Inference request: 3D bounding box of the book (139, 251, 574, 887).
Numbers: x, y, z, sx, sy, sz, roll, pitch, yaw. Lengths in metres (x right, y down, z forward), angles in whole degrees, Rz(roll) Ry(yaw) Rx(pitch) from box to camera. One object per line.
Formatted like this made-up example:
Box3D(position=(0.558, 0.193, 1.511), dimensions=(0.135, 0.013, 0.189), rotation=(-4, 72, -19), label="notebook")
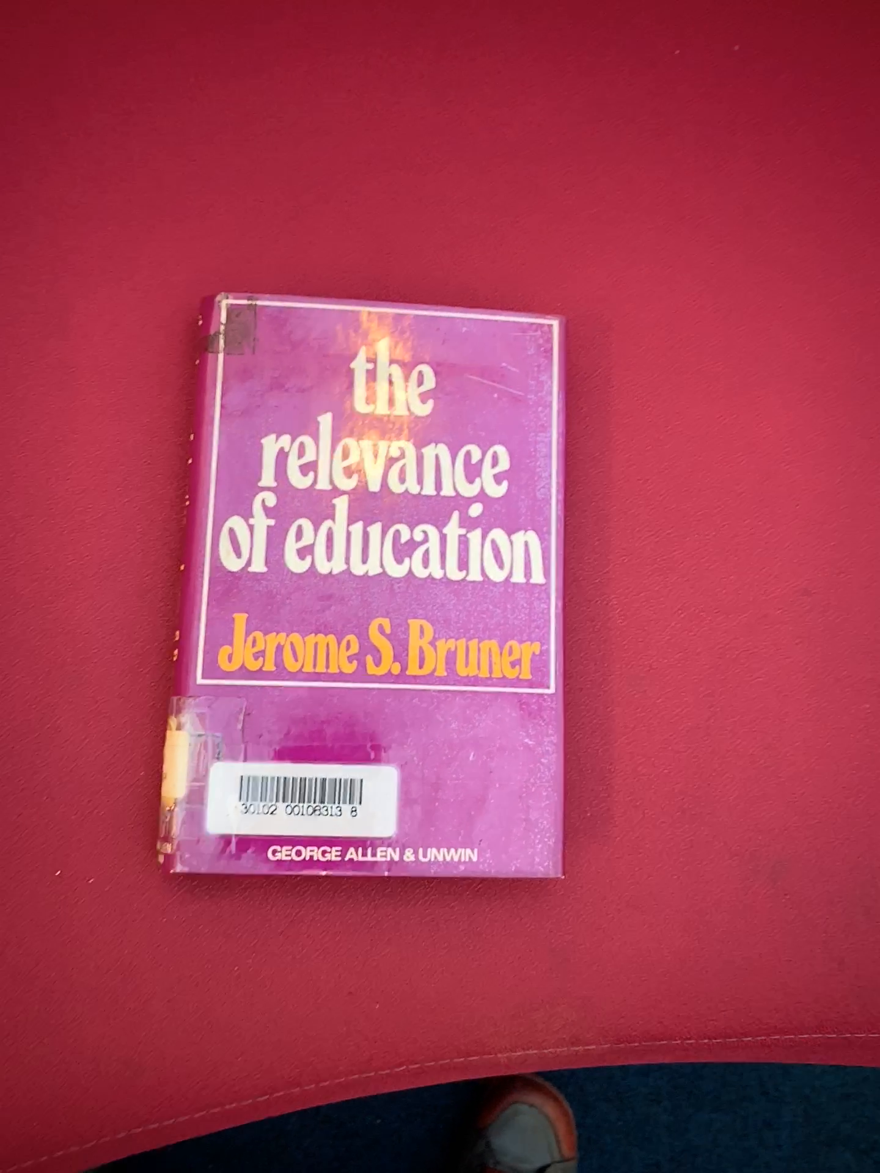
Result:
Box3D(position=(-0.027, -0.007, 0.351), dimensions=(0.150, 0.040, 0.230), rotation=(2, 81, -5), label="book")
